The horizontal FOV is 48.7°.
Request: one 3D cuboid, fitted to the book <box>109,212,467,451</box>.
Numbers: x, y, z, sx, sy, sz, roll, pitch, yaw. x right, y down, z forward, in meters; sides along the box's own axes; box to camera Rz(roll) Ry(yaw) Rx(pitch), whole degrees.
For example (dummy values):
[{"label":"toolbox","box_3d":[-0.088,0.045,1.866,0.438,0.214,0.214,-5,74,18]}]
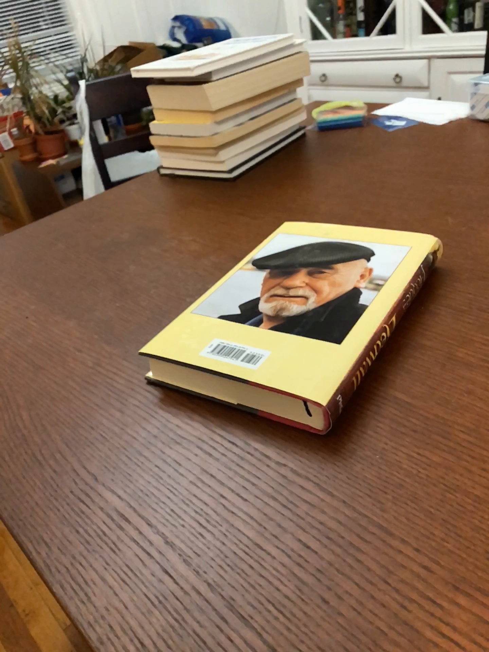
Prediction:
[{"label":"book","box_3d":[0.048,-0.023,0.441,0.190,0.030,0.251,12,39,33]}]
